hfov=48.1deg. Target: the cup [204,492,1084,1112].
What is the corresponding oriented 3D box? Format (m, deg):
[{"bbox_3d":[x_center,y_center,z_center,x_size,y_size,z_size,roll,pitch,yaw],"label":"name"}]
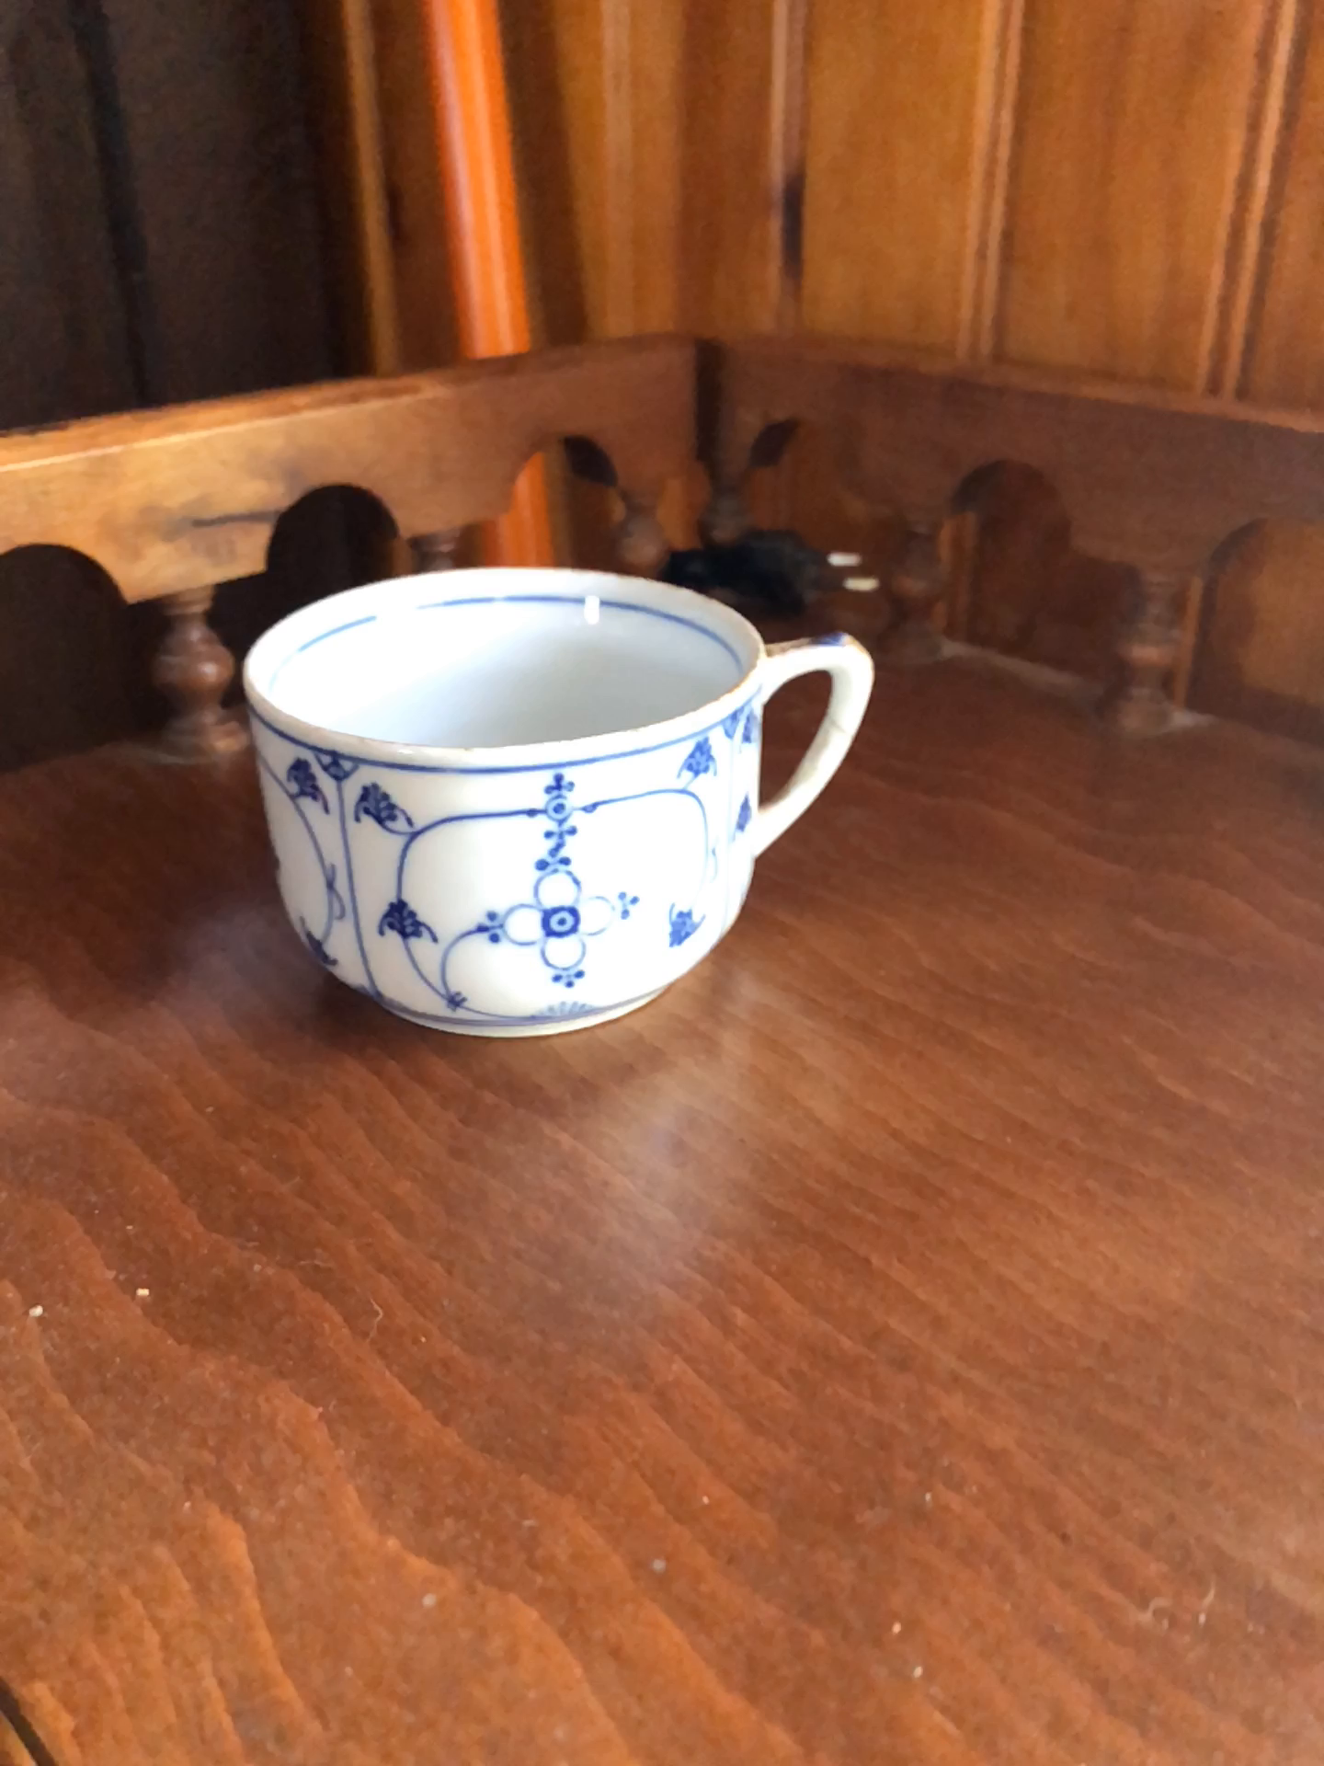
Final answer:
[{"bbox_3d":[-0.008,-0.020,0.244,0.120,0.060,0.080,-8,29,-14],"label":"cup"}]
